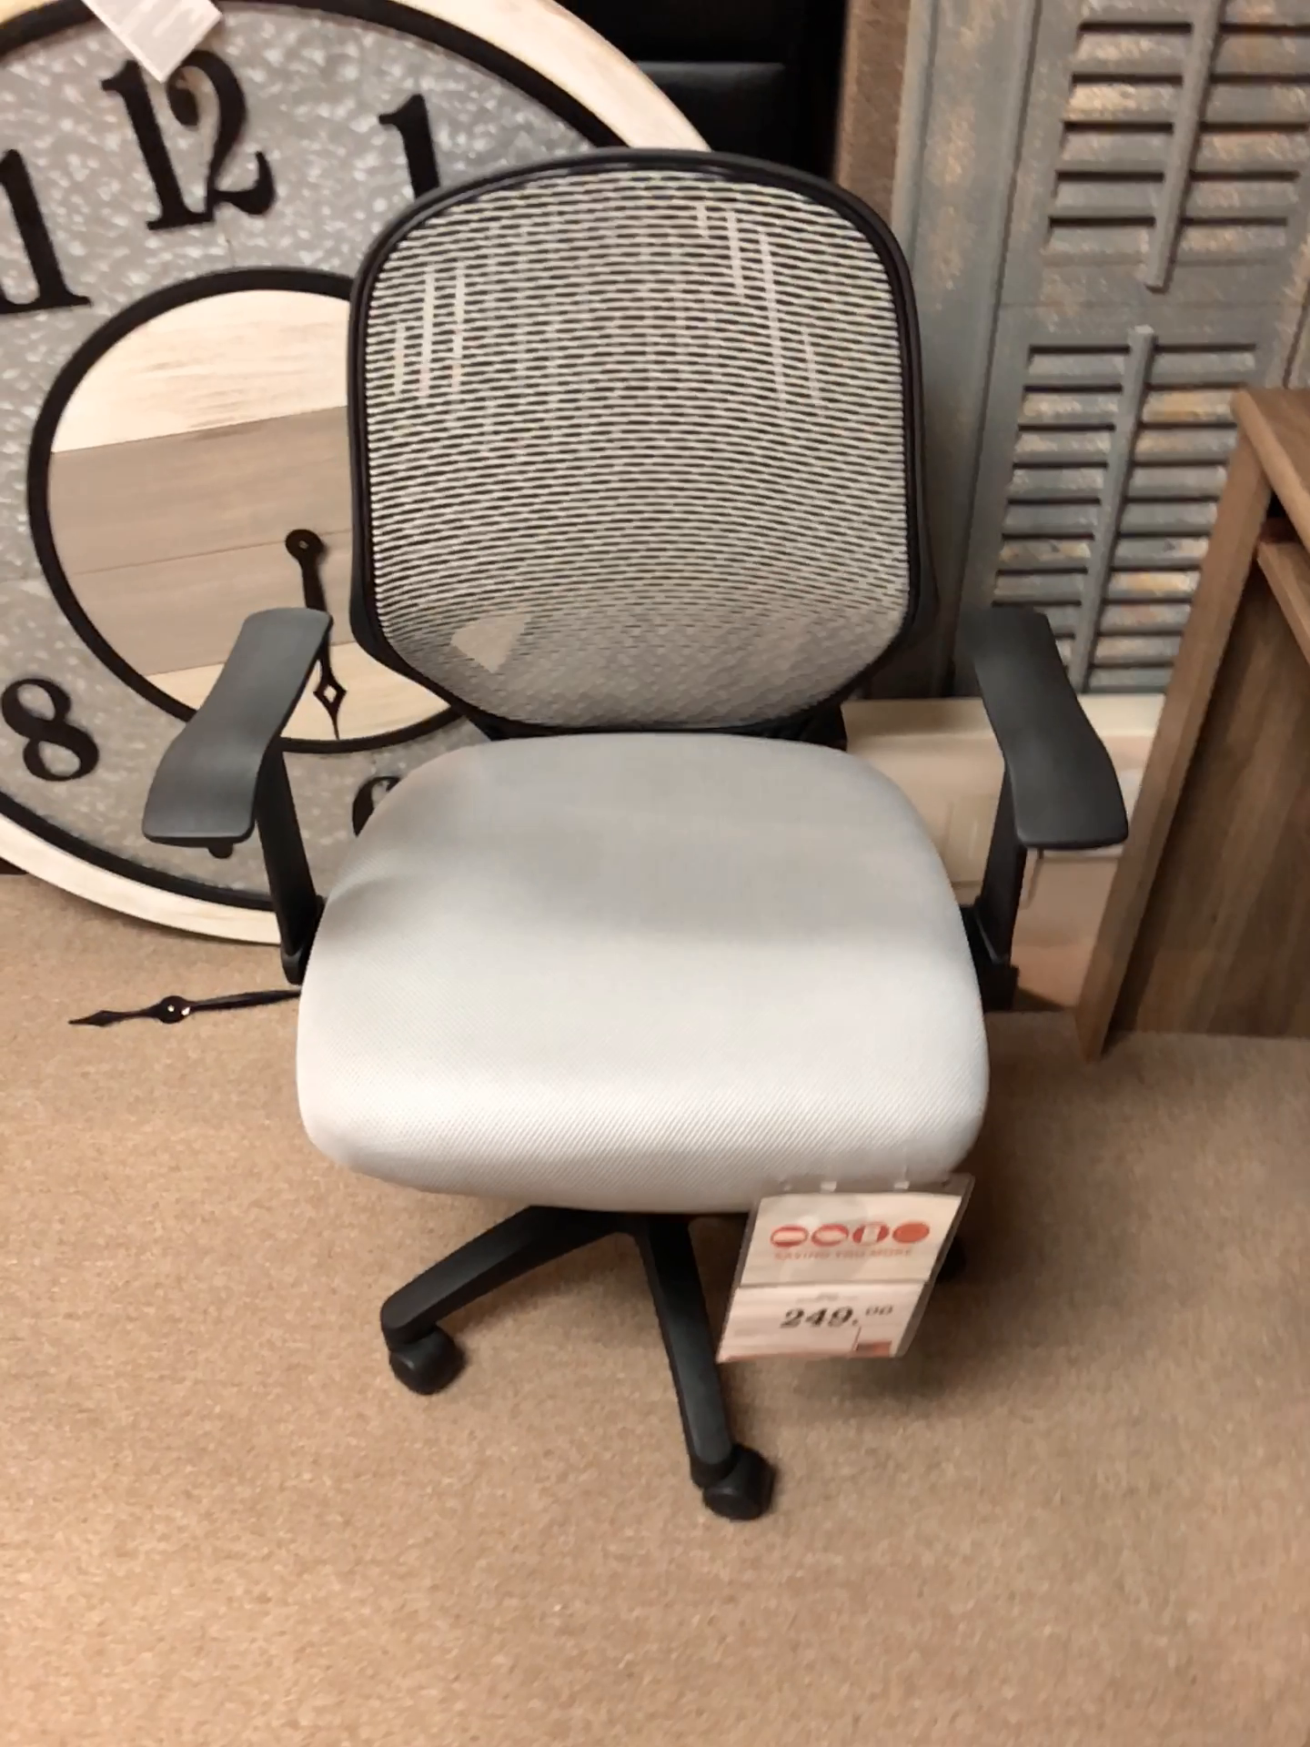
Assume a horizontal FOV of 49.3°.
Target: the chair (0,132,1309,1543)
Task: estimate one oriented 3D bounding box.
[{"bbox_3d":[0.009,-0.020,1.120,0.610,0.864,0.675,-1,41,-2],"label":"chair"}]
